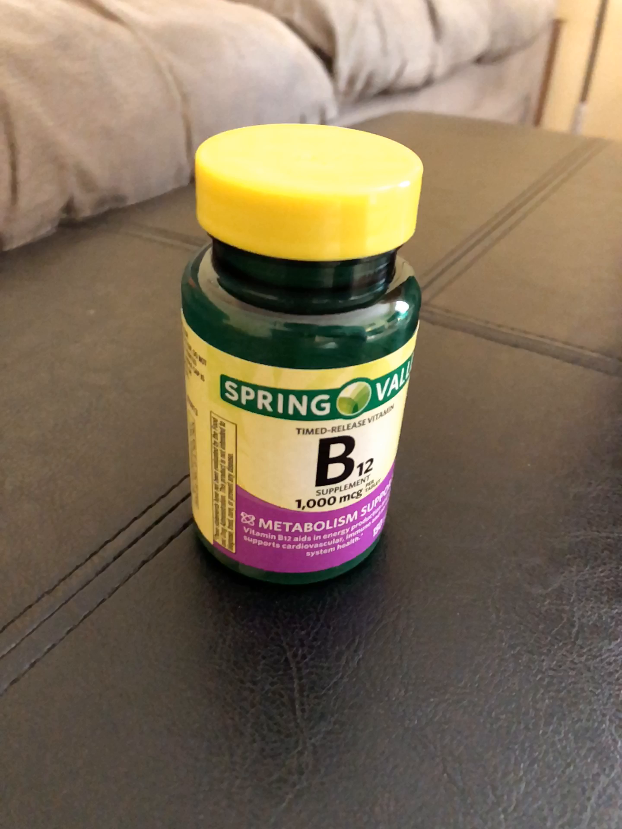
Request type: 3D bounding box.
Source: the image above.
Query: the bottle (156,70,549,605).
[{"bbox_3d":[0.003,-0.016,0.145,0.050,0.090,0.050,2,35,-1],"label":"bottle"}]
